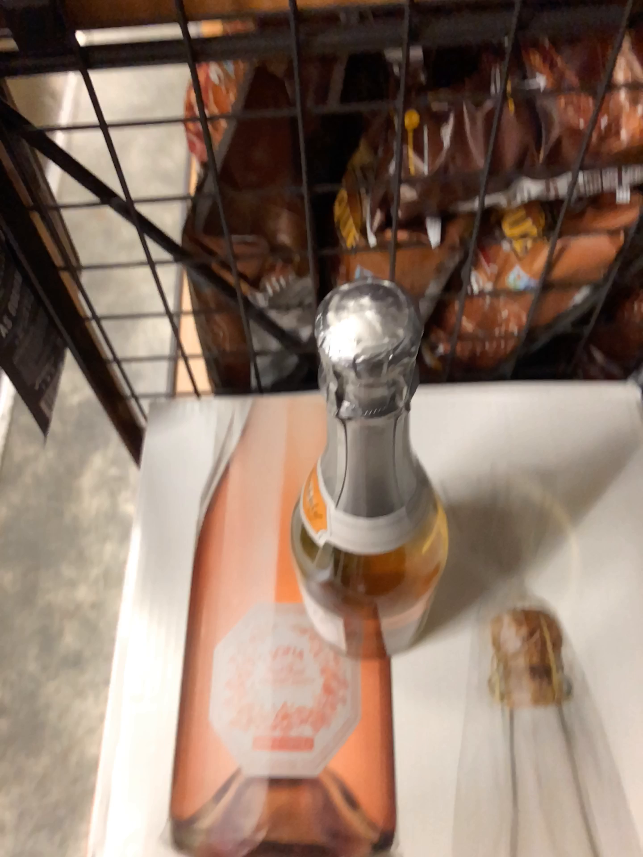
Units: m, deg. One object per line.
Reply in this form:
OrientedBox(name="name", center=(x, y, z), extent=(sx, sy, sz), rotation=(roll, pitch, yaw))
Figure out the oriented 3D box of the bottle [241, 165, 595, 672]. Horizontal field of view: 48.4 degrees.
OrientedBox(name="bottle", center=(0.030, 0.036, 0.345), extent=(0.086, 0.320, 0.078), rotation=(-9, 60, -3))
